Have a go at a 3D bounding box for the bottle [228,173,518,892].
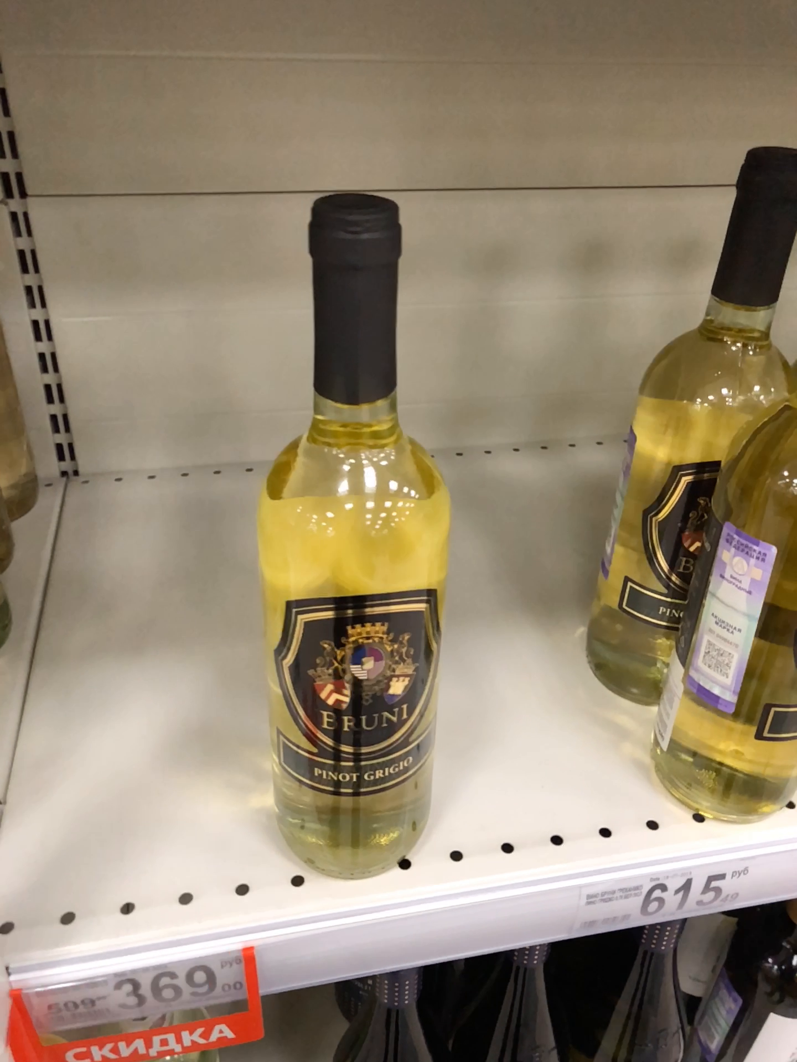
[{"bbox_3d":[-0.017,0.017,0.355,0.080,0.288,0.080,2,33,-1],"label":"bottle"}]
